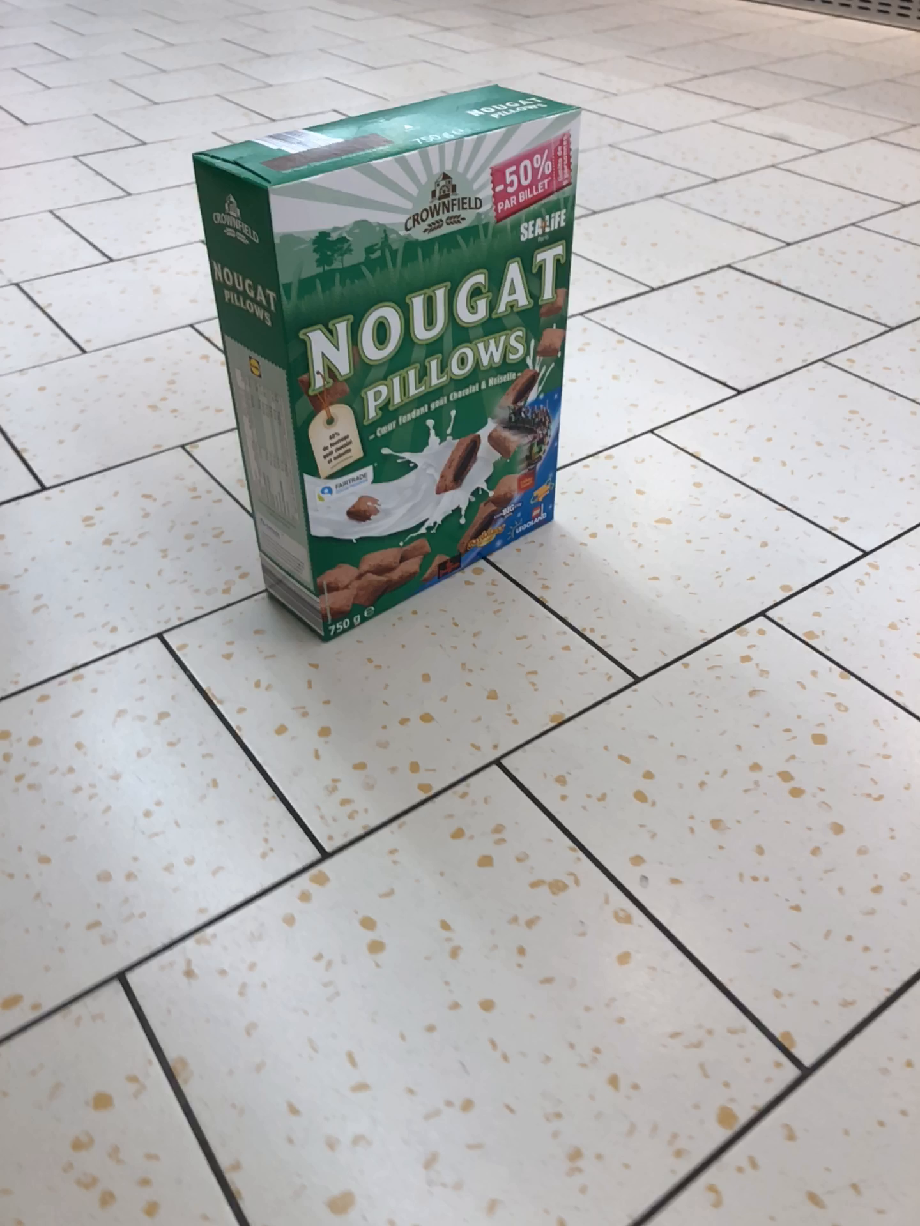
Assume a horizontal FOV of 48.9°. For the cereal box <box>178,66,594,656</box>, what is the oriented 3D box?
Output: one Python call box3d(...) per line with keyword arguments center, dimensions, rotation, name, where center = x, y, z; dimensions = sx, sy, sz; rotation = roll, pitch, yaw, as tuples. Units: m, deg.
box3d(center=(-0.027, -0.139, 0.571), dimensions=(0.201, 0.268, 0.070), rotation=(-30, 47, -31), name="cereal box")
